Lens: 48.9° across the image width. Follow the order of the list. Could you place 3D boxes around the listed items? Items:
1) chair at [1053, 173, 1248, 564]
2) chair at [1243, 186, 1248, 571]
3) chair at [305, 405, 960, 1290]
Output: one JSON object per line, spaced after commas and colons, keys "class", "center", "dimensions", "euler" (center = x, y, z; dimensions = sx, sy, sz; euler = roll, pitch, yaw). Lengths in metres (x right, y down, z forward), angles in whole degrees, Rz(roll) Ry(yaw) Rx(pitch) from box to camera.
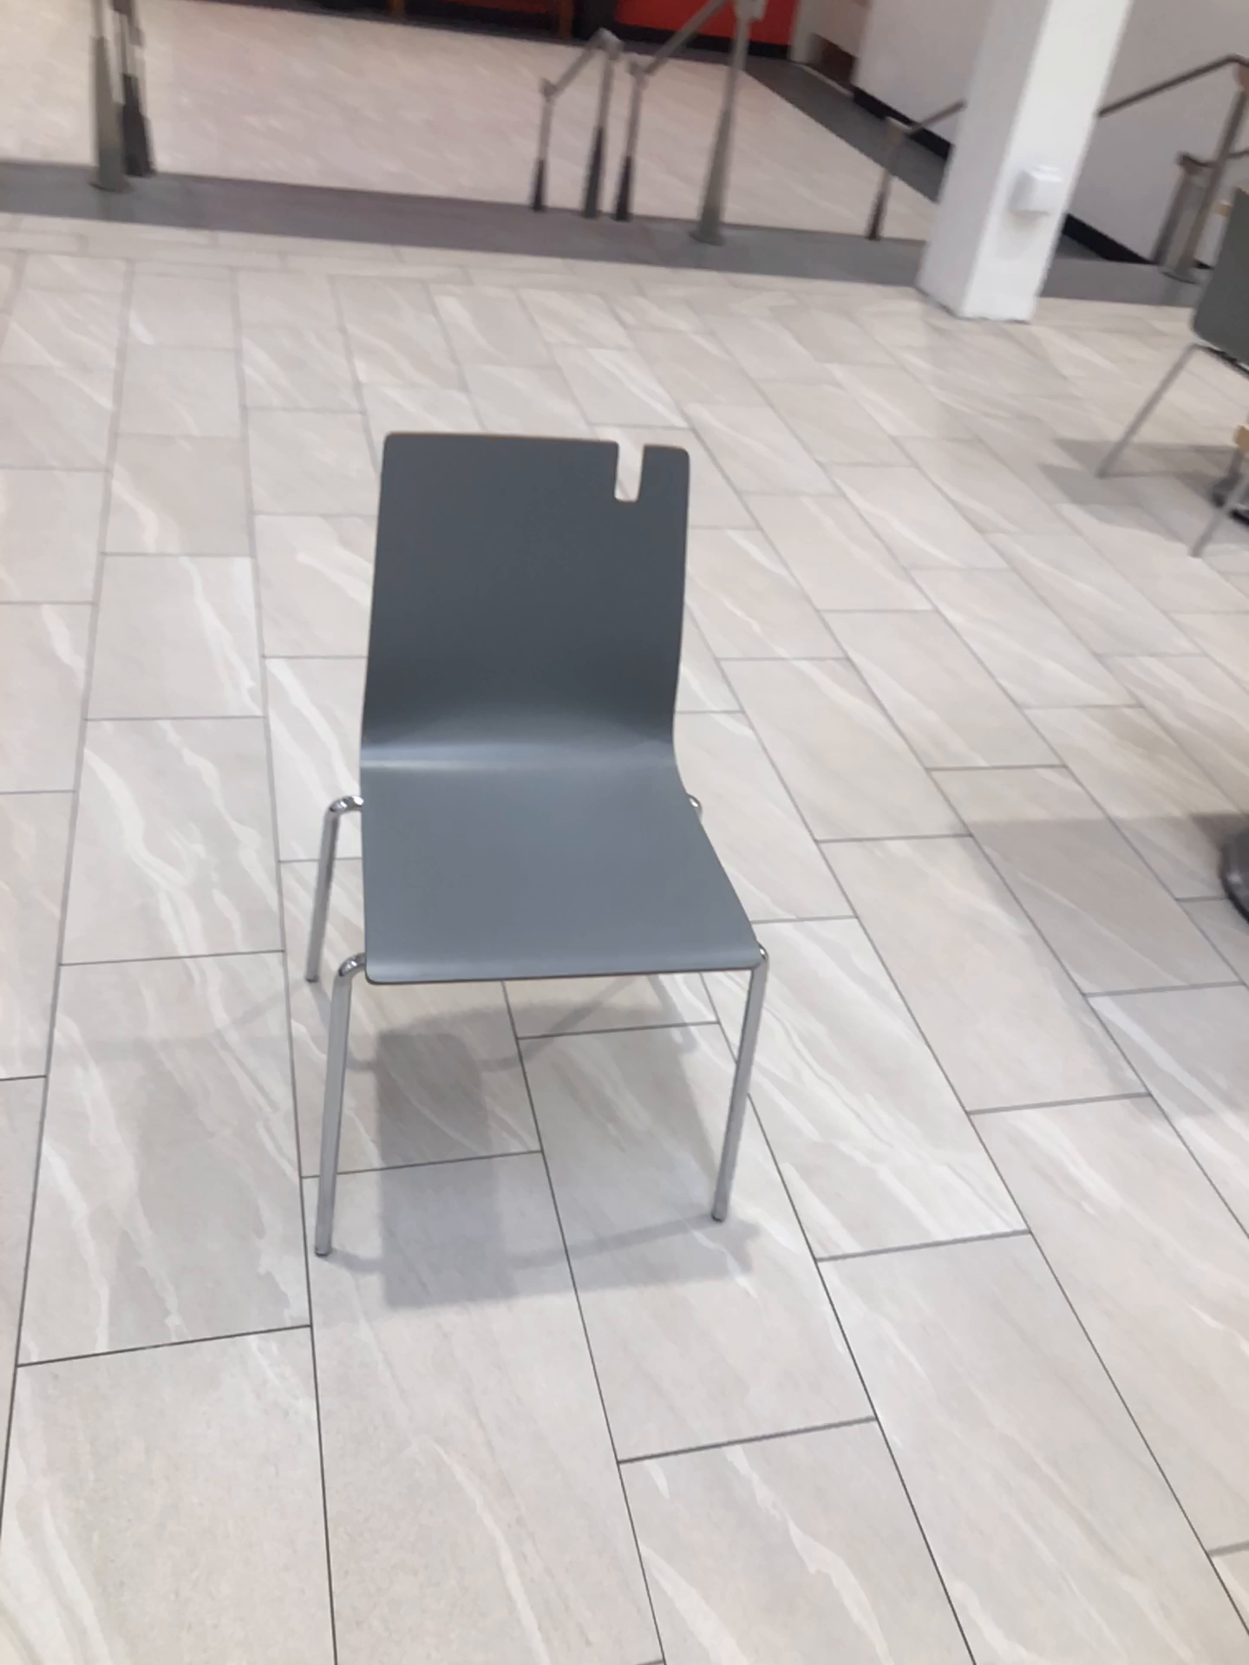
{"class": "chair", "center": [1.520, -1.101, 3.279], "dimensions": [0.536, 0.707, 0.576], "euler": [-5, 39, -20]}
{"class": "chair", "center": [2.055, -1.125, 3.429], "dimensions": [0.486, 0.737, 0.557], "euler": [-1, 38, -15]}
{"class": "chair", "center": [-0.079, 0.025, 1.522], "dimensions": [0.525, 0.787, 0.517], "euler": [0, 38, -14]}
